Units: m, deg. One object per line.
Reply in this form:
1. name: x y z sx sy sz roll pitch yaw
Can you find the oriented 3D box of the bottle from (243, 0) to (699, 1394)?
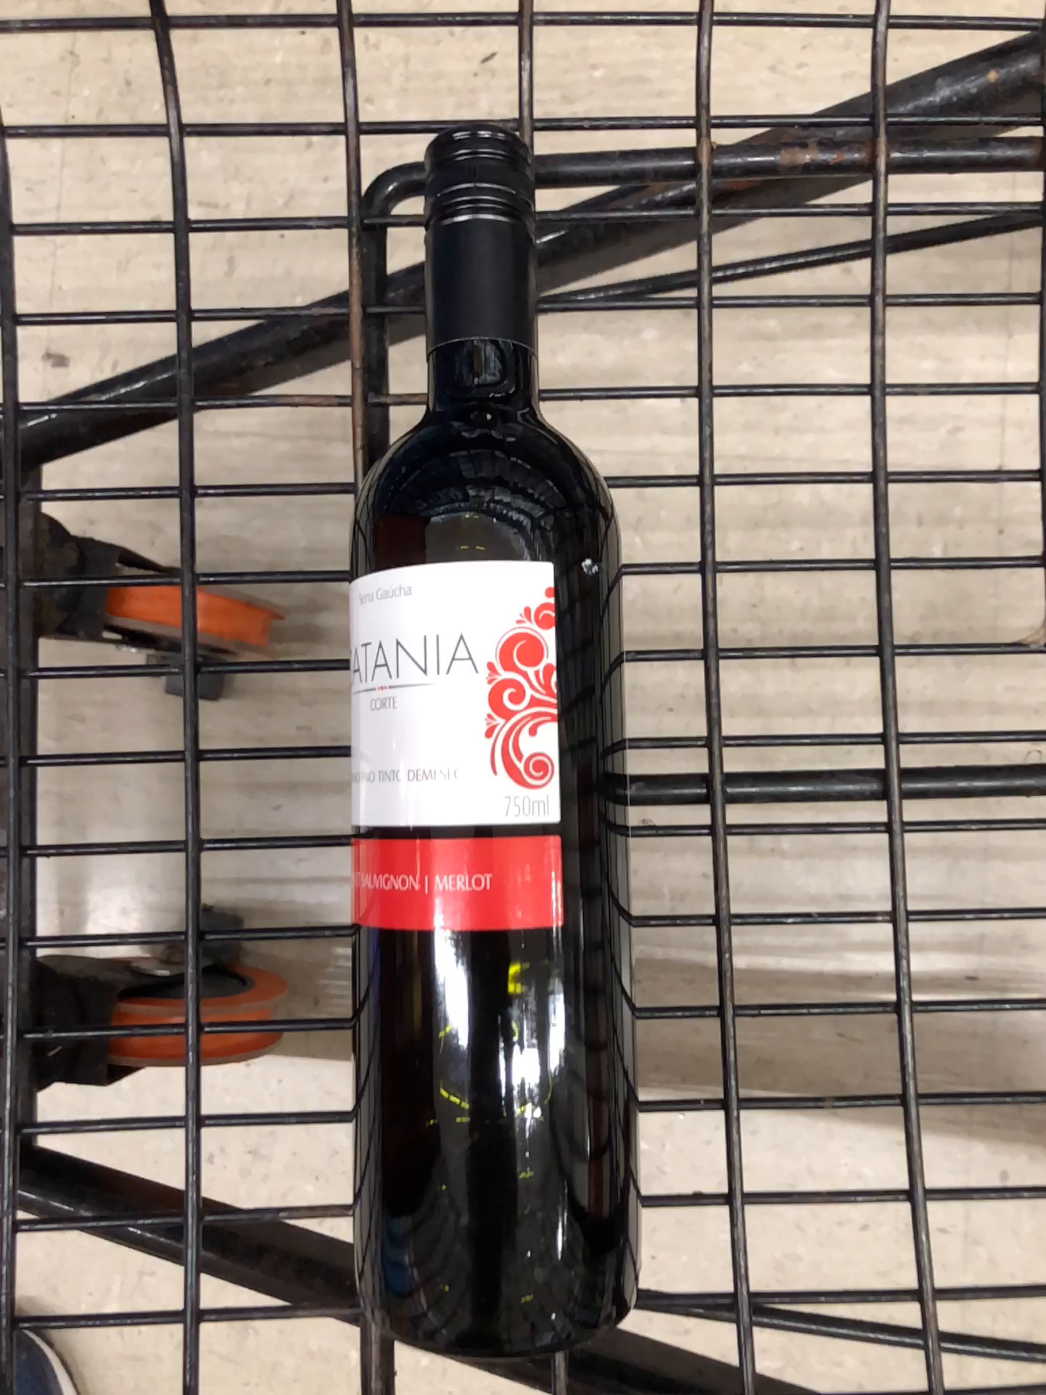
1. bottle: -0.016 -0.006 0.294 0.080 0.070 0.300 -6 84 44
